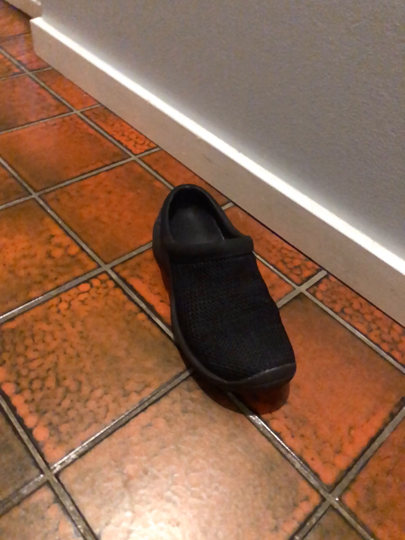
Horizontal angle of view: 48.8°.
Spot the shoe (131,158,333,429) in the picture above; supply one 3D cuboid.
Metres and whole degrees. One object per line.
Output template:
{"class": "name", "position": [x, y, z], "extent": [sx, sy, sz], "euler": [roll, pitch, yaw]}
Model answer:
{"class": "shoe", "position": [0.007, 0.002, 0.420], "extent": [0.100, 0.080, 0.251], "euler": [-9, 49, -16]}
